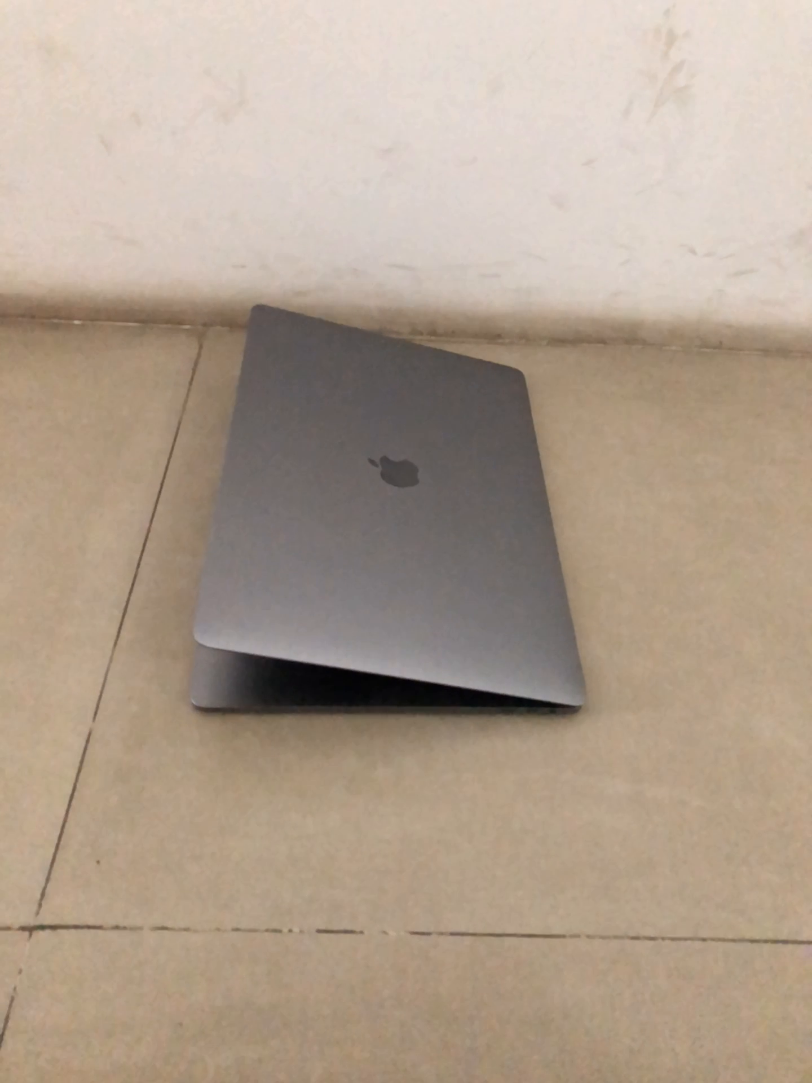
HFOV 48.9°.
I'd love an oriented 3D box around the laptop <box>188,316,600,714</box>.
[{"bbox_3d":[-0.009,-0.040,0.639,0.232,0.057,0.337,2,46,-2],"label":"laptop"}]
